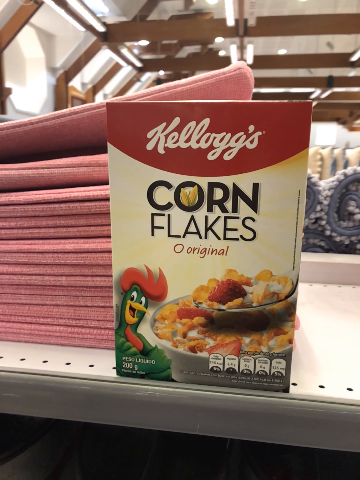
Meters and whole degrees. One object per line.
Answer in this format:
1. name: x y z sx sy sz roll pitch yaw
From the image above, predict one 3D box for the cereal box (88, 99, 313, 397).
1. cereal box: 0.017 0.007 0.378 0.180 0.259 0.060 3 14 9
